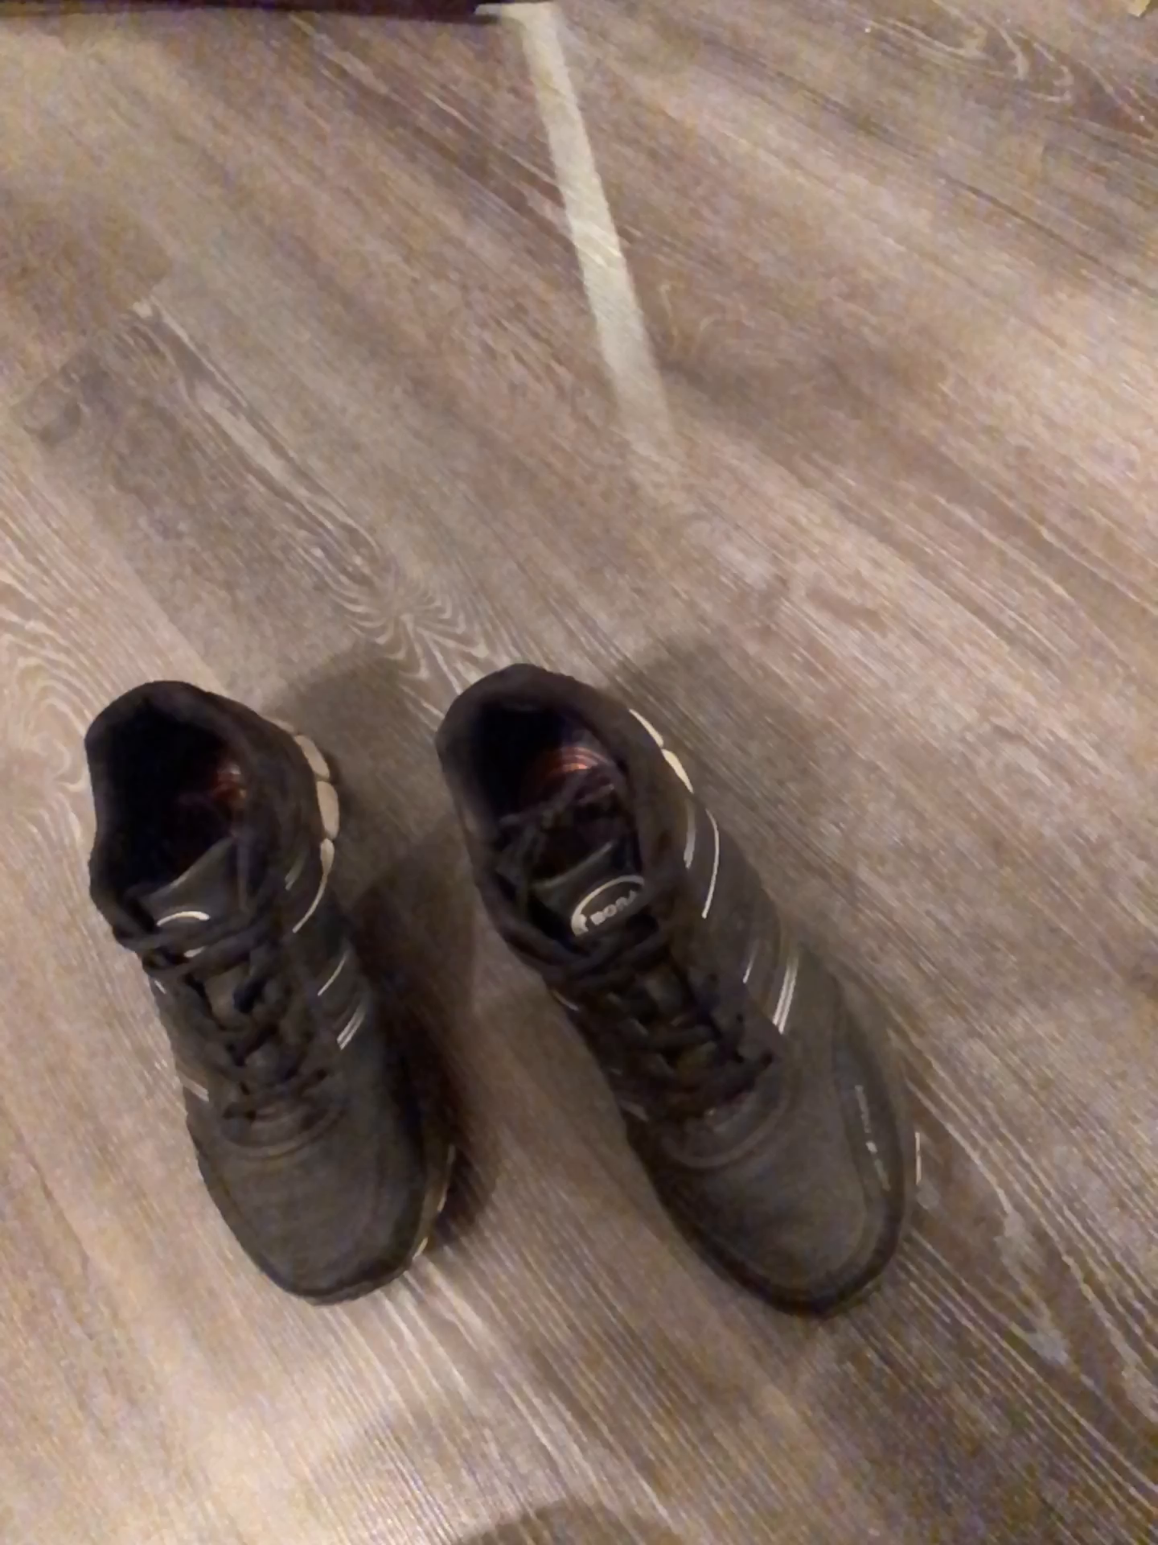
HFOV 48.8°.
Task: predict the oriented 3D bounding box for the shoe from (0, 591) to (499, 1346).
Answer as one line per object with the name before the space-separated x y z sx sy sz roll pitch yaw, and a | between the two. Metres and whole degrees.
shoe | -0.132 0.070 0.489 0.100 0.090 0.251 -27 64 5

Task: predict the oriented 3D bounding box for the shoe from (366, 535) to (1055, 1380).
shoe | 0.040 0.059 0.460 0.110 0.100 0.261 -32 63 3
